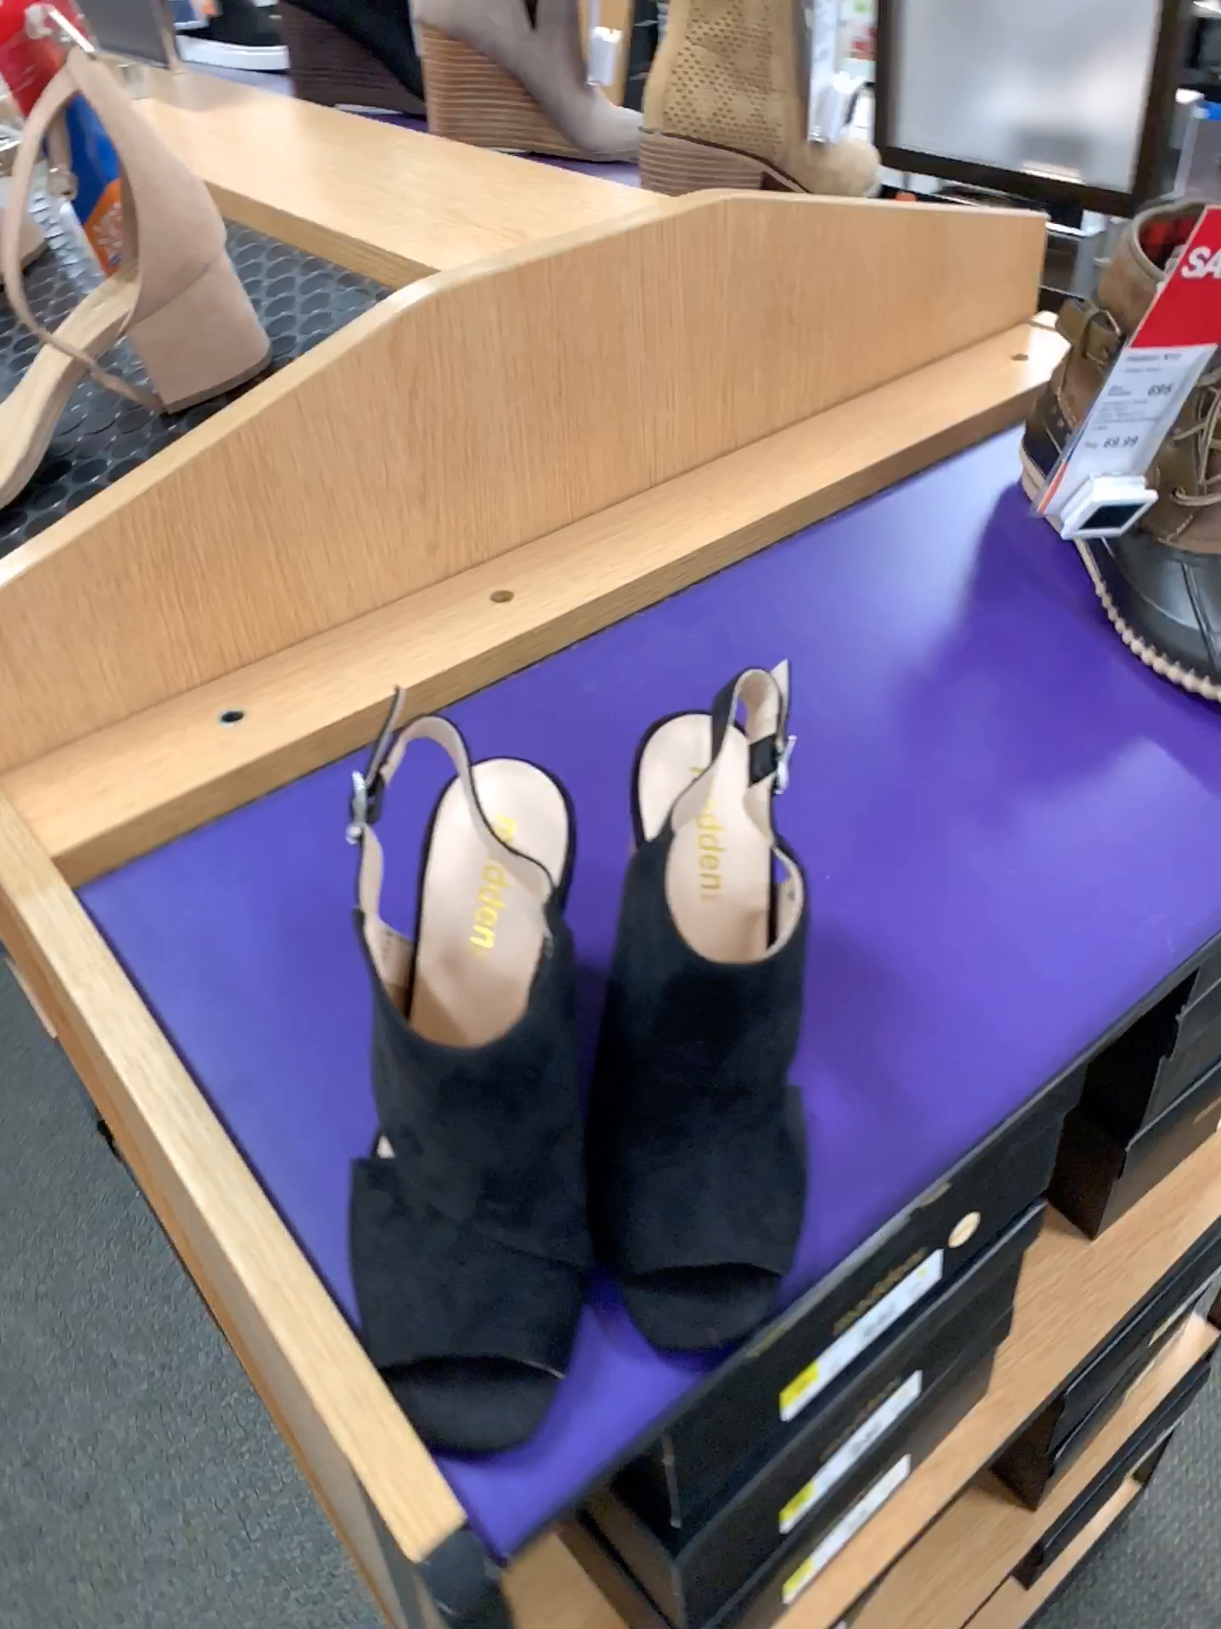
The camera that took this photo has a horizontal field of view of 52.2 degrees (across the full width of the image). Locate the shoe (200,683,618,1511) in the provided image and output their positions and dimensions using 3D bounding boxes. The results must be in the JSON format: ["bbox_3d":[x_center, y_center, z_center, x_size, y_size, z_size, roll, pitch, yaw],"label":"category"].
[{"bbox_3d":[-0.046,0.090,0.398,0.080,0.139,0.221,-1,64,5],"label":"shoe"}]

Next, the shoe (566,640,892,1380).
[{"bbox_3d":[0.032,0.063,0.427,0.080,0.109,0.221,-4,57,2],"label":"shoe"}]
